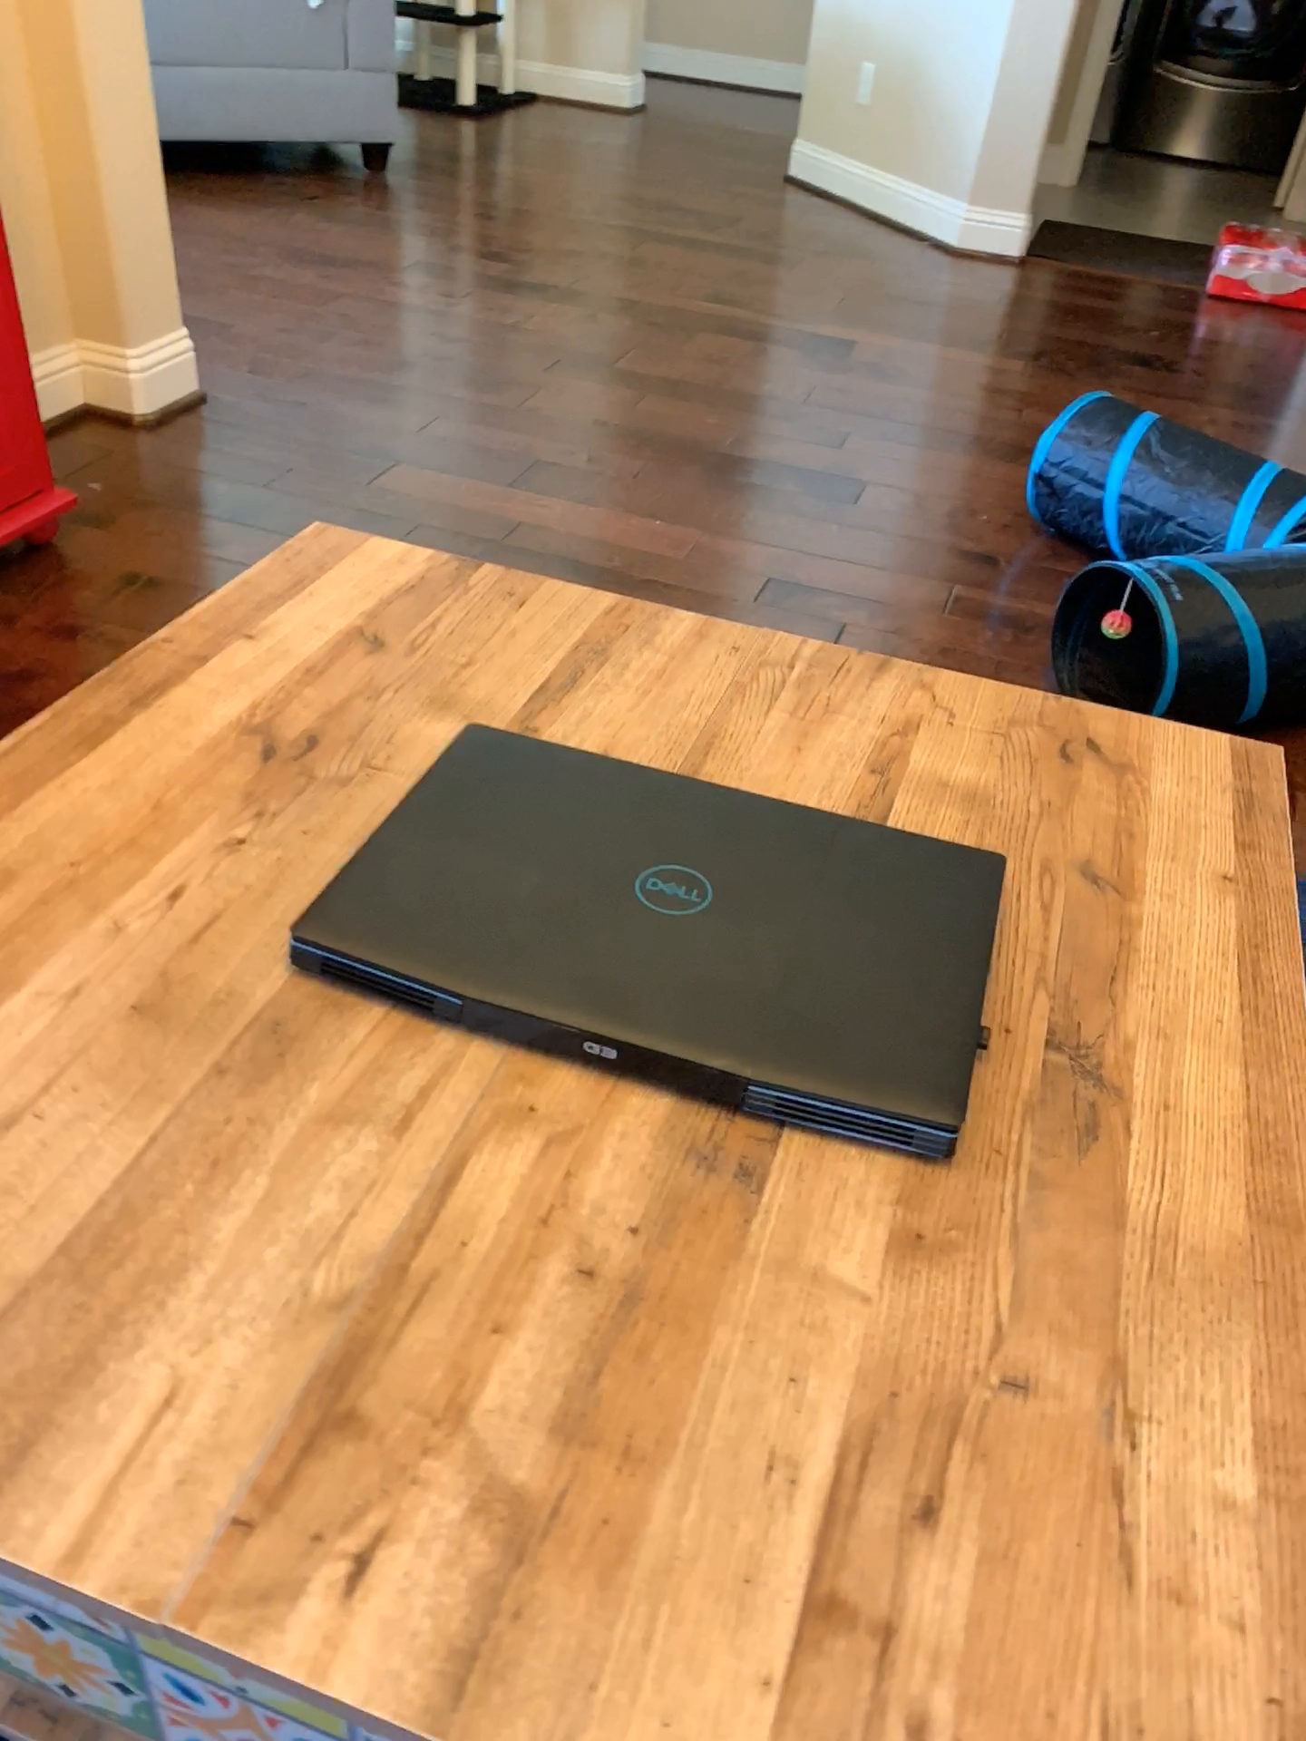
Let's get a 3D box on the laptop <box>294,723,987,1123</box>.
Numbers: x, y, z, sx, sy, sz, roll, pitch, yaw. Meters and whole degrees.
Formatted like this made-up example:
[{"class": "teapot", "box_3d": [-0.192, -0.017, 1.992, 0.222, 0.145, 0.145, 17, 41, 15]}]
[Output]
[{"class": "laptop", "box_3d": [0.006, 0.011, 0.757, 0.346, 0.001, 0.228, 15, 38, 12]}]
